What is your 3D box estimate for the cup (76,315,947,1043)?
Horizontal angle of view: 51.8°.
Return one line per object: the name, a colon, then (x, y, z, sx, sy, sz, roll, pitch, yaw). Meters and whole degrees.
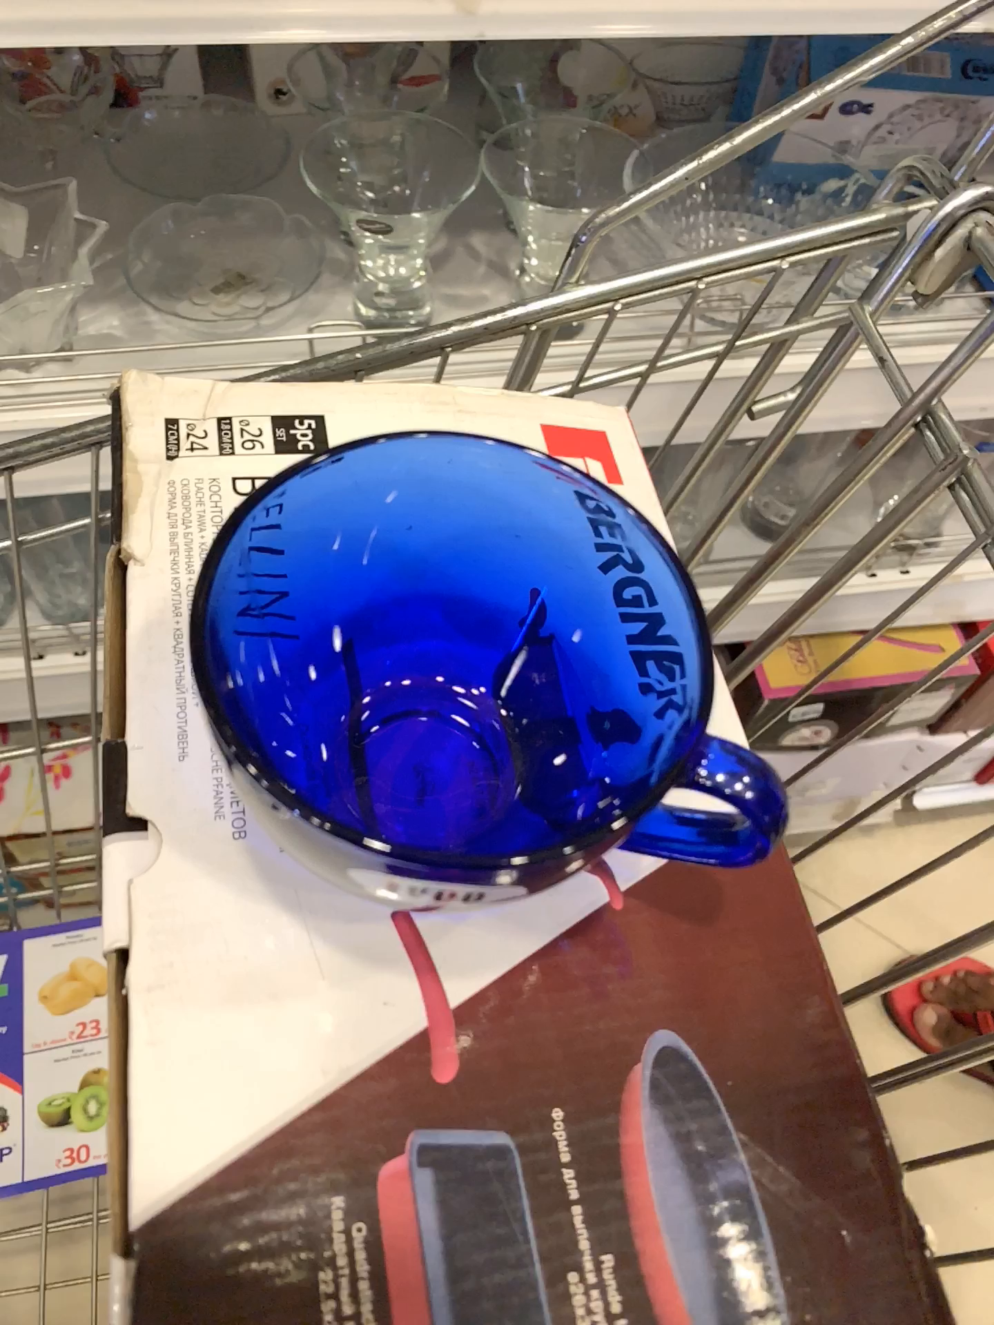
cup: (0.007, 0.001, 0.172, 0.110, 0.050, 0.080, 17, 58, 6)
